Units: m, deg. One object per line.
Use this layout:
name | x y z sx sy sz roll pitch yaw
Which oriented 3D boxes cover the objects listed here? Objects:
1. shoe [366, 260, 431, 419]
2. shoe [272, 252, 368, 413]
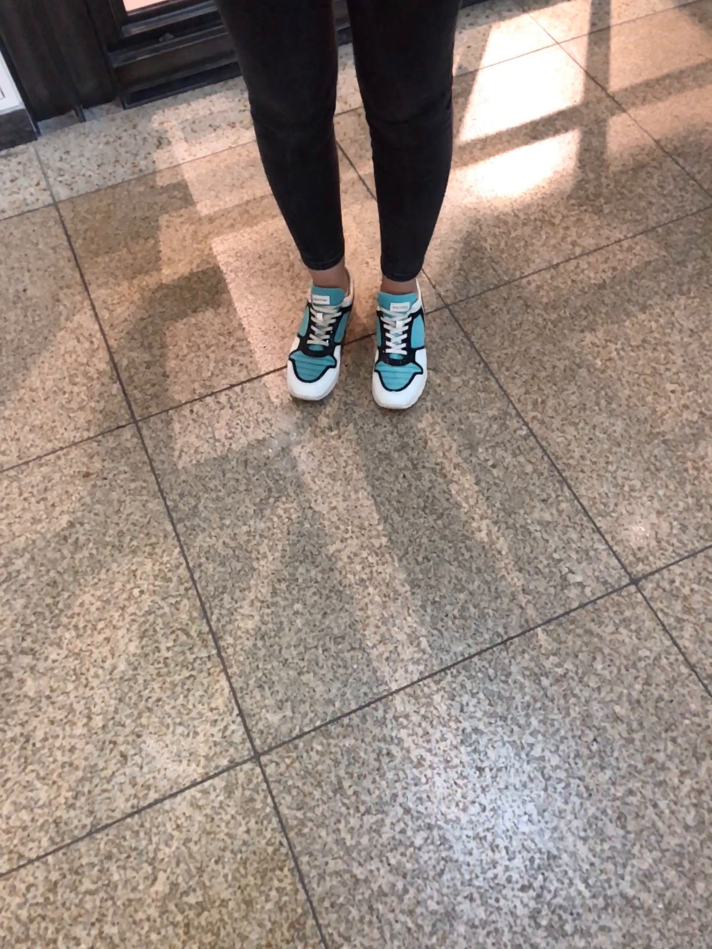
shoe | 0.072 -0.227 1.302 0.100 0.120 0.241 1 60 4
shoe | -0.055 -0.243 1.329 0.100 0.120 0.241 9 60 8
